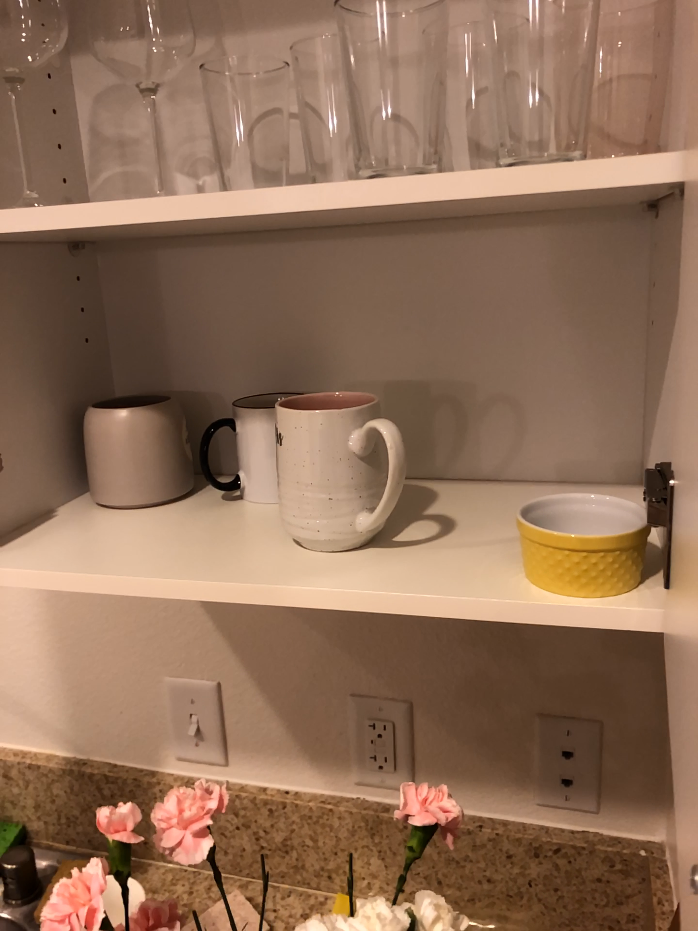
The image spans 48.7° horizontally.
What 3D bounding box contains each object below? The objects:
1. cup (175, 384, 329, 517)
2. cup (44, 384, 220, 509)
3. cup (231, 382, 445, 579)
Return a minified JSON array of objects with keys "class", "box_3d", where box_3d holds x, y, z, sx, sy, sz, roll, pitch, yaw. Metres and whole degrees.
[{"class":"cup","box_3d":[-0.090,-0.018,0.707,0.110,0.090,0.090,-10,16,-24]},{"class":"cup","box_3d":[-0.210,-0.023,0.775,0.110,0.090,0.151,-1,15,9]},{"class":"cup","box_3d":[-0.010,0.003,0.590,0.090,0.110,0.140,-14,18,-37]}]
